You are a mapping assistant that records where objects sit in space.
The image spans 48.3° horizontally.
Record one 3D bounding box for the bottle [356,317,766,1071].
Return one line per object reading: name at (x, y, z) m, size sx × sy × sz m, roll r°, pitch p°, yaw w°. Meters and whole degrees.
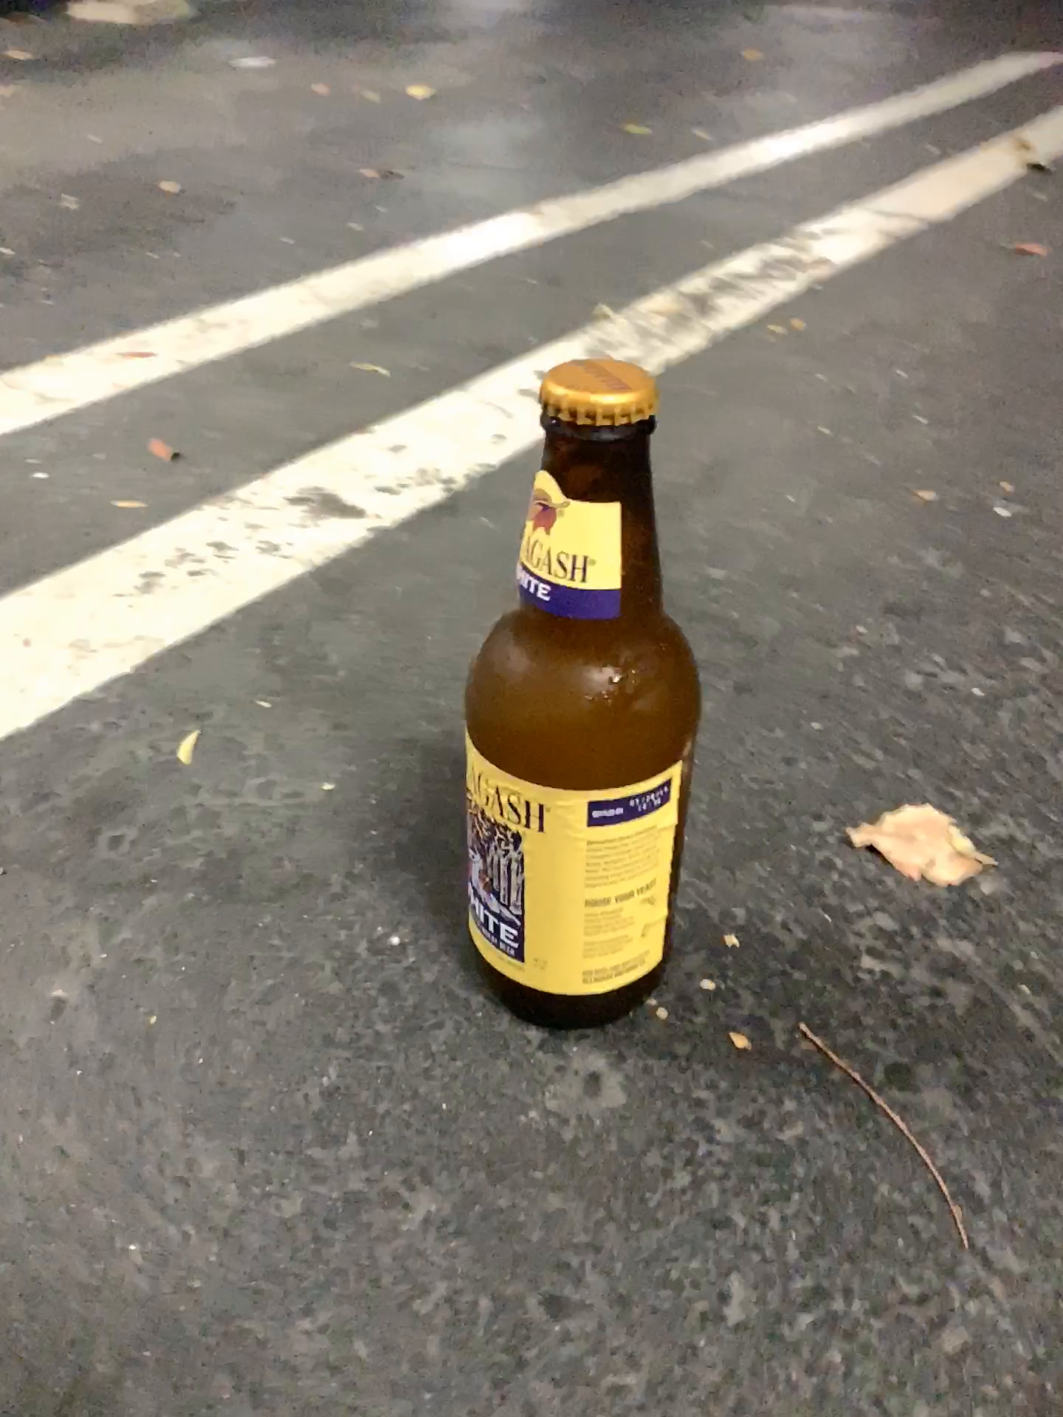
bottle at (0.006, 0.001, 0.330) m, size 0.070 × 0.190 × 0.070 m, roll -1°, pitch 36°, yaw 1°
